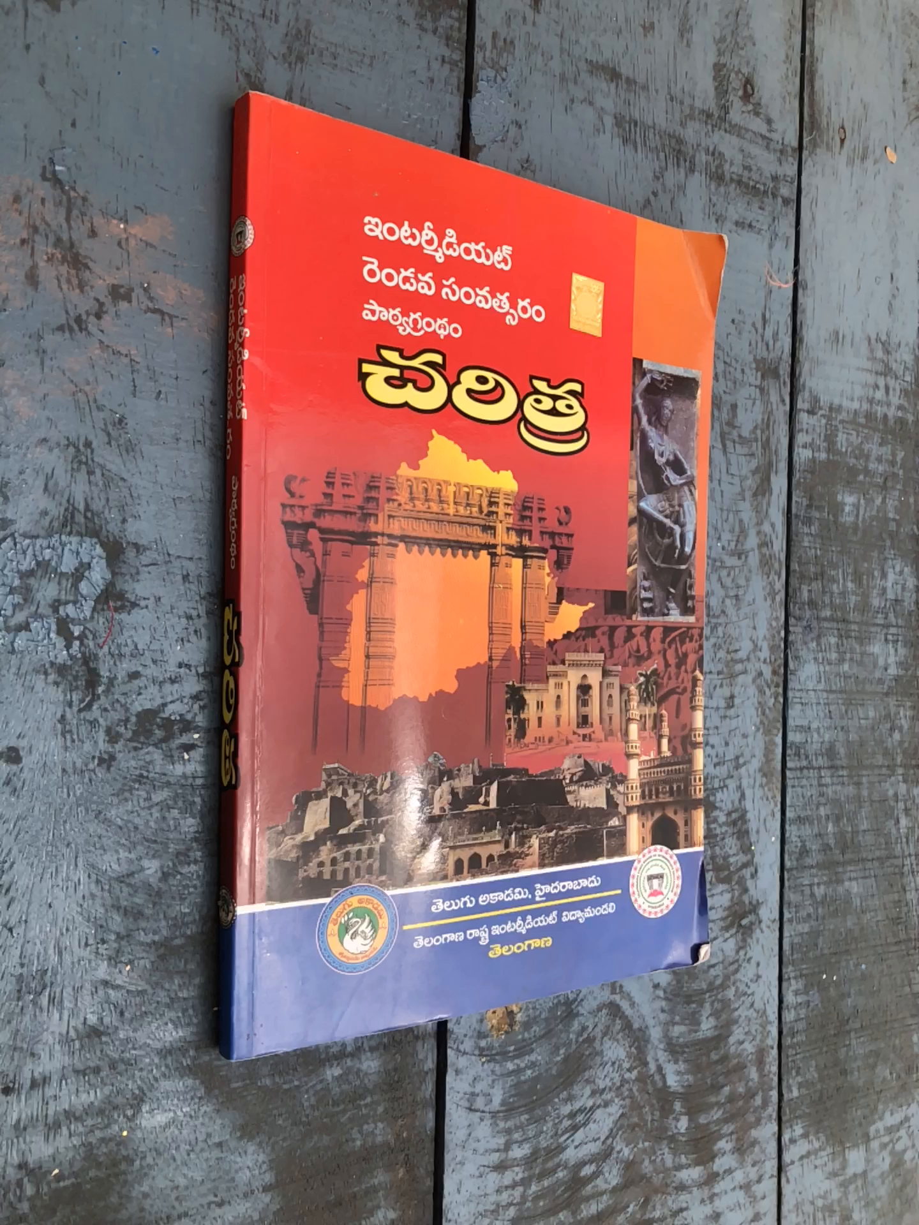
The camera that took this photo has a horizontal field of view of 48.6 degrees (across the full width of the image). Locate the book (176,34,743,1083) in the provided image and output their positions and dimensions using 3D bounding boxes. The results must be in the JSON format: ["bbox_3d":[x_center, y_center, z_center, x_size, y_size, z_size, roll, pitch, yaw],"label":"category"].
[{"bbox_3d":[0.012,-0.013,0.330,0.191,0.040,0.270,2,87,-34],"label":"book"}]
